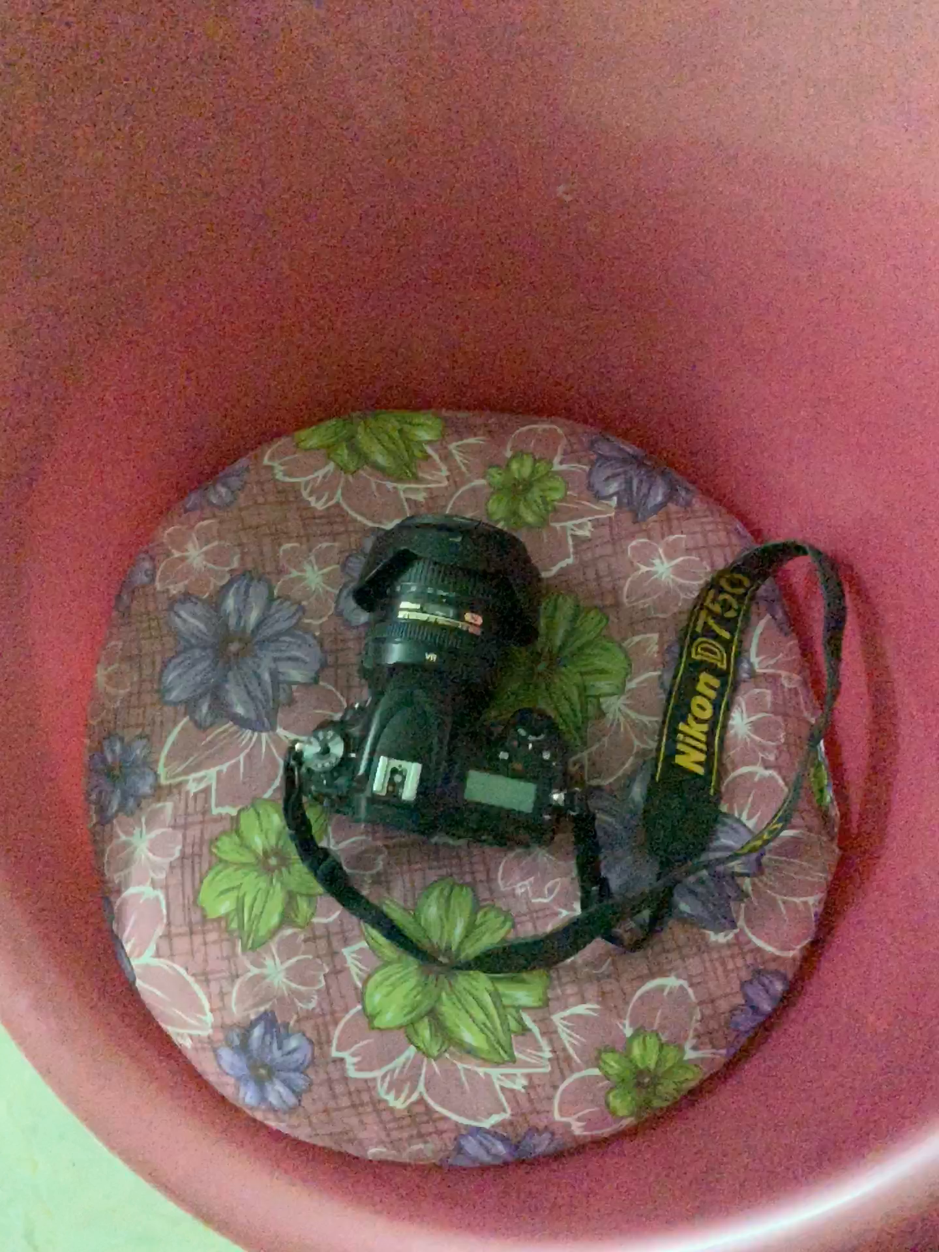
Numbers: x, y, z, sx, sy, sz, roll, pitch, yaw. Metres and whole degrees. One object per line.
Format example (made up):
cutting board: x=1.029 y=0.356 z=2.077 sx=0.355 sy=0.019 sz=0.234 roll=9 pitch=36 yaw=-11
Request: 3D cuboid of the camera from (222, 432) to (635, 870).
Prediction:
camera: x=-0.012 y=0.020 z=0.534 sx=0.166 sy=0.130 sz=0.192 roll=11 pitch=77 yaw=9
